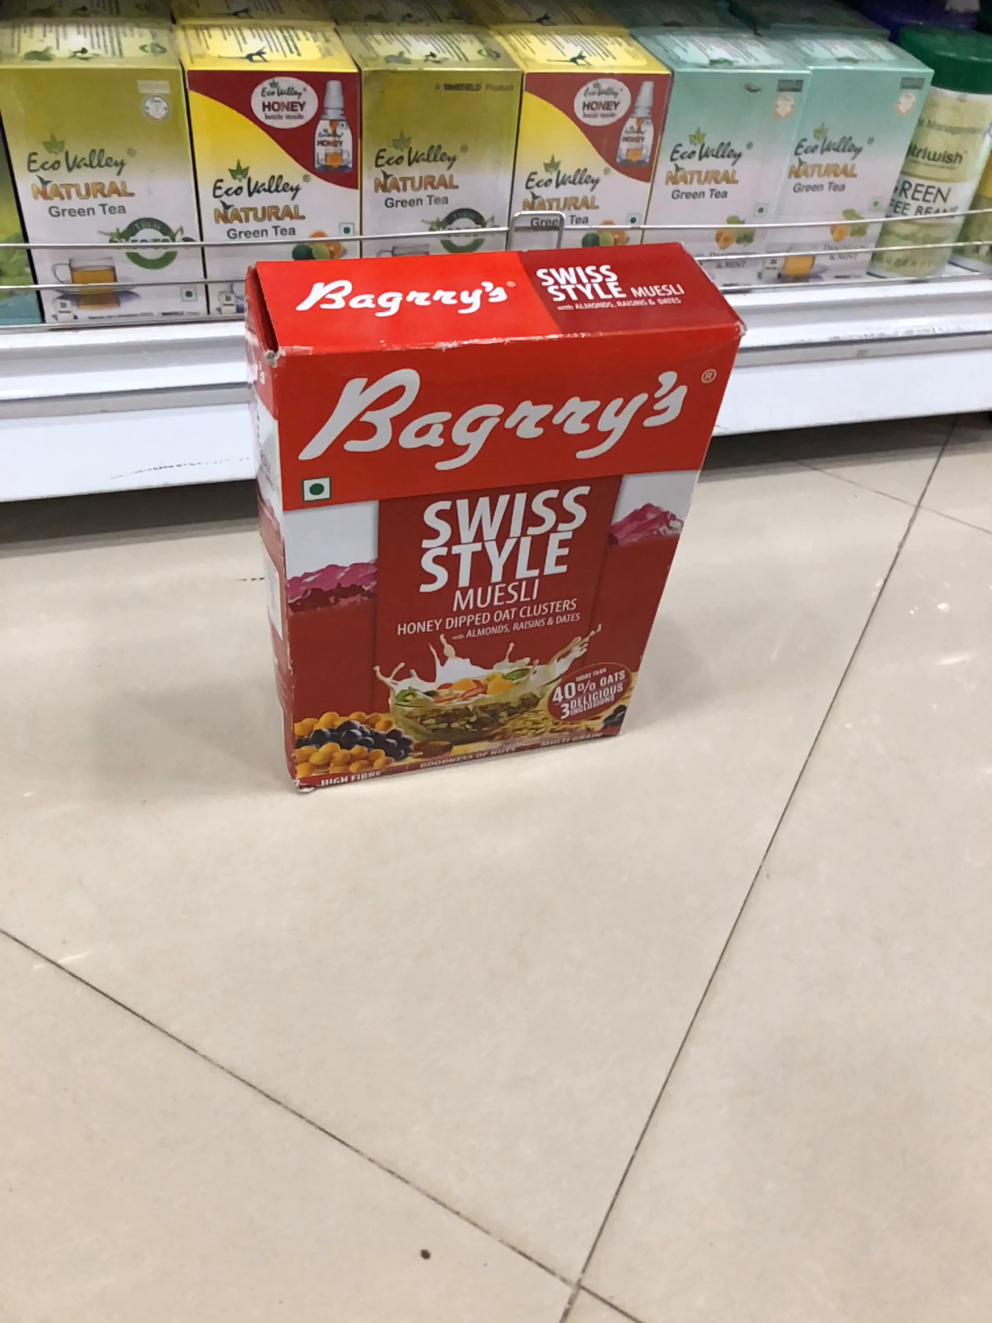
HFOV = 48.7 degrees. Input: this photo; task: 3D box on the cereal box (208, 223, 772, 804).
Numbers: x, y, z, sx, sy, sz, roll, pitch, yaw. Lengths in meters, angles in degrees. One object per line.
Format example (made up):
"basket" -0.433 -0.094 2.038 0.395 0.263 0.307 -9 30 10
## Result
"cereal box" -0.013 -0.058 0.503 0.200 0.248 0.080 -8 48 -15
